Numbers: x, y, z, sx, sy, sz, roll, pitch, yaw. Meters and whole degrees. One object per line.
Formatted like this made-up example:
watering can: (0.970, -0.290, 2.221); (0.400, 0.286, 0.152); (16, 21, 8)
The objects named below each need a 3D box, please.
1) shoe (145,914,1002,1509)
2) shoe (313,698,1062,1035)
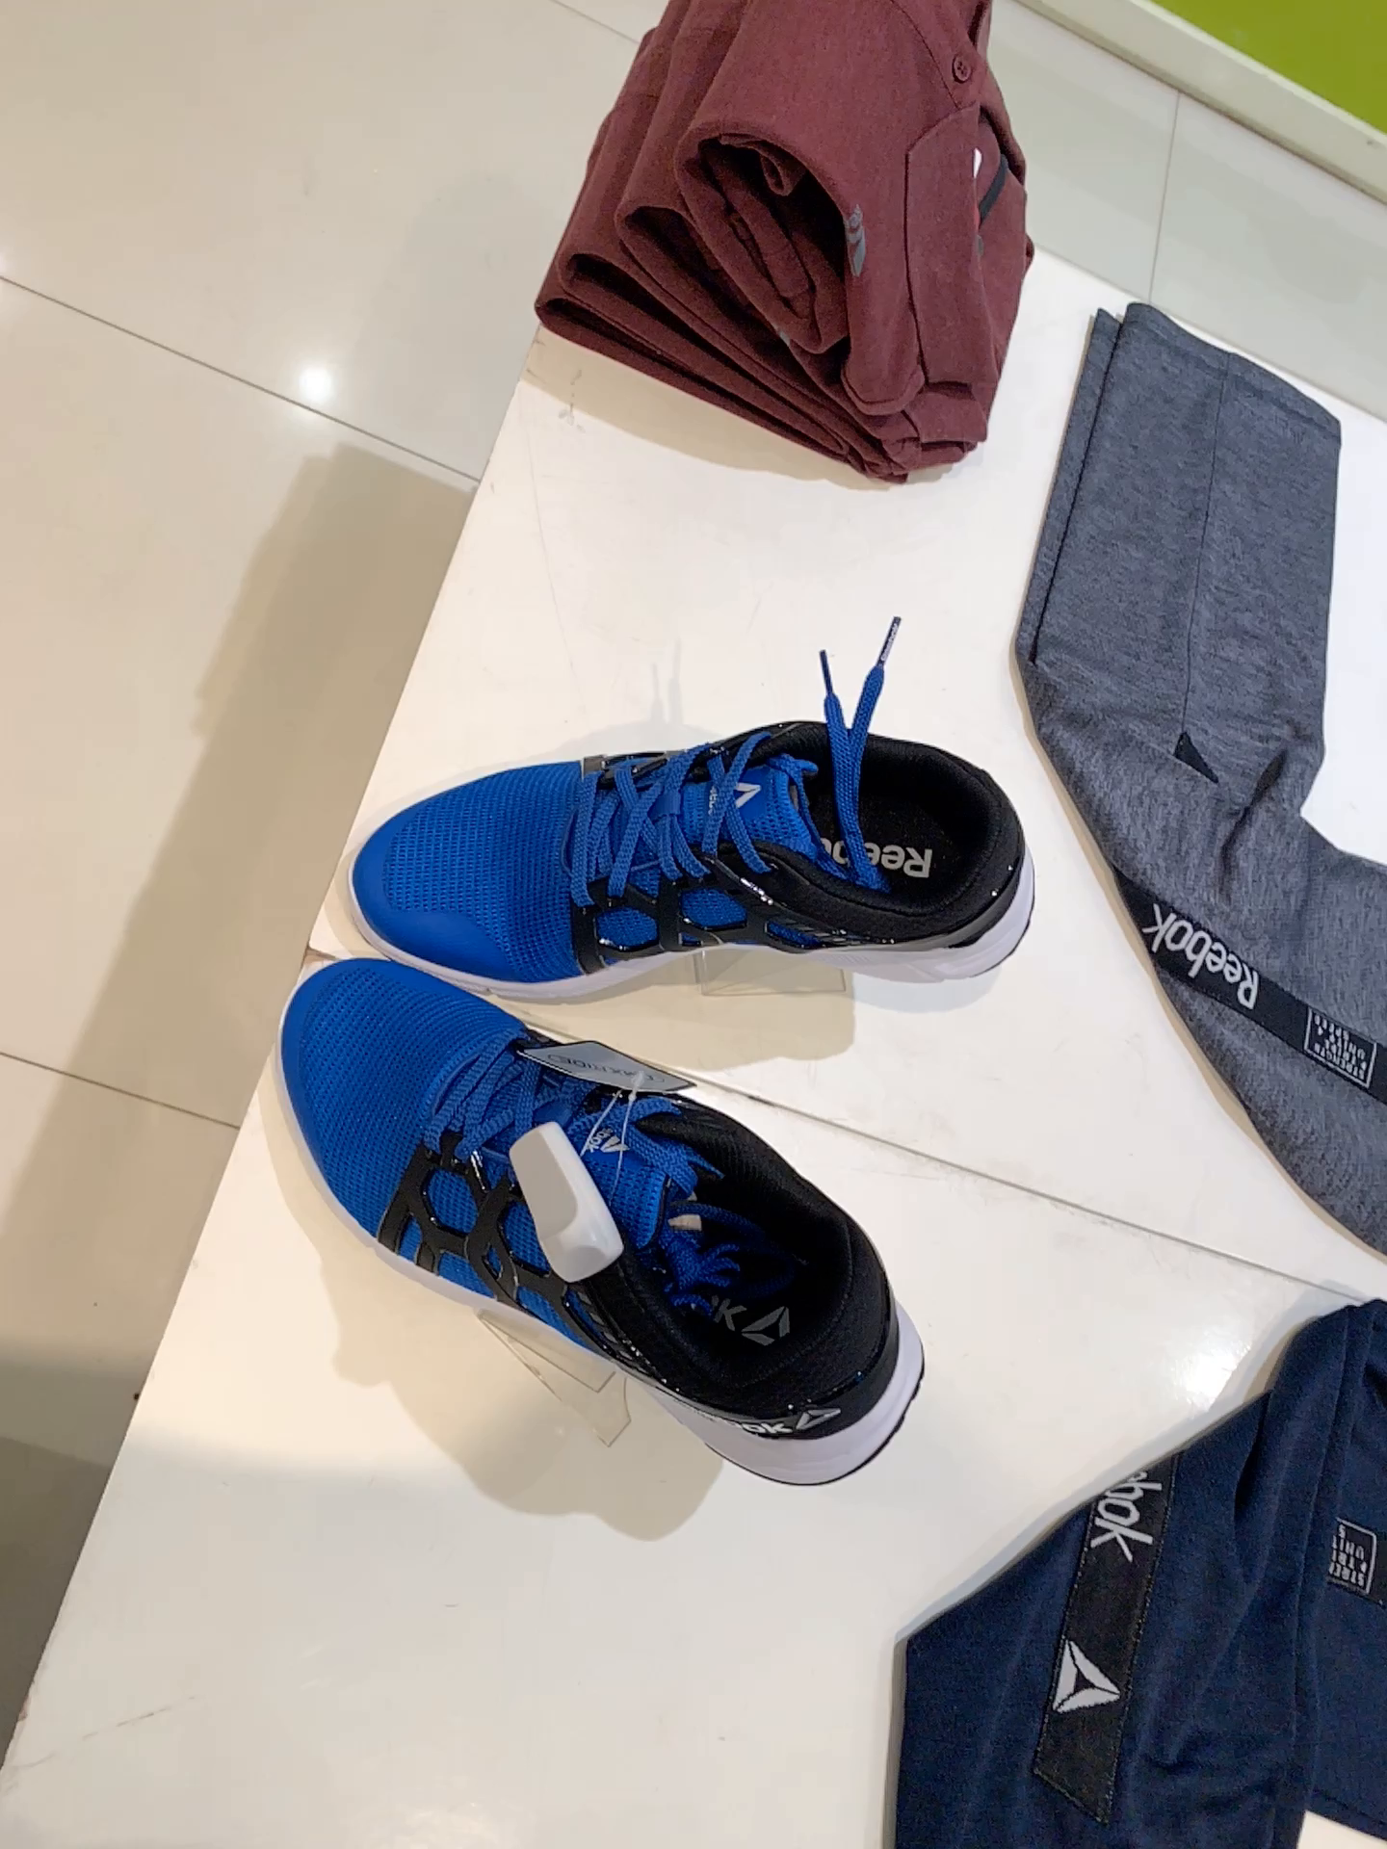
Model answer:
shoe: (-0.050, 0.088, 0.509); (0.290, 0.080, 0.100); (14, 57, 32)
shoe: (0.001, -0.015, 0.575); (0.280, 0.100, 0.100); (-2, 77, 16)
